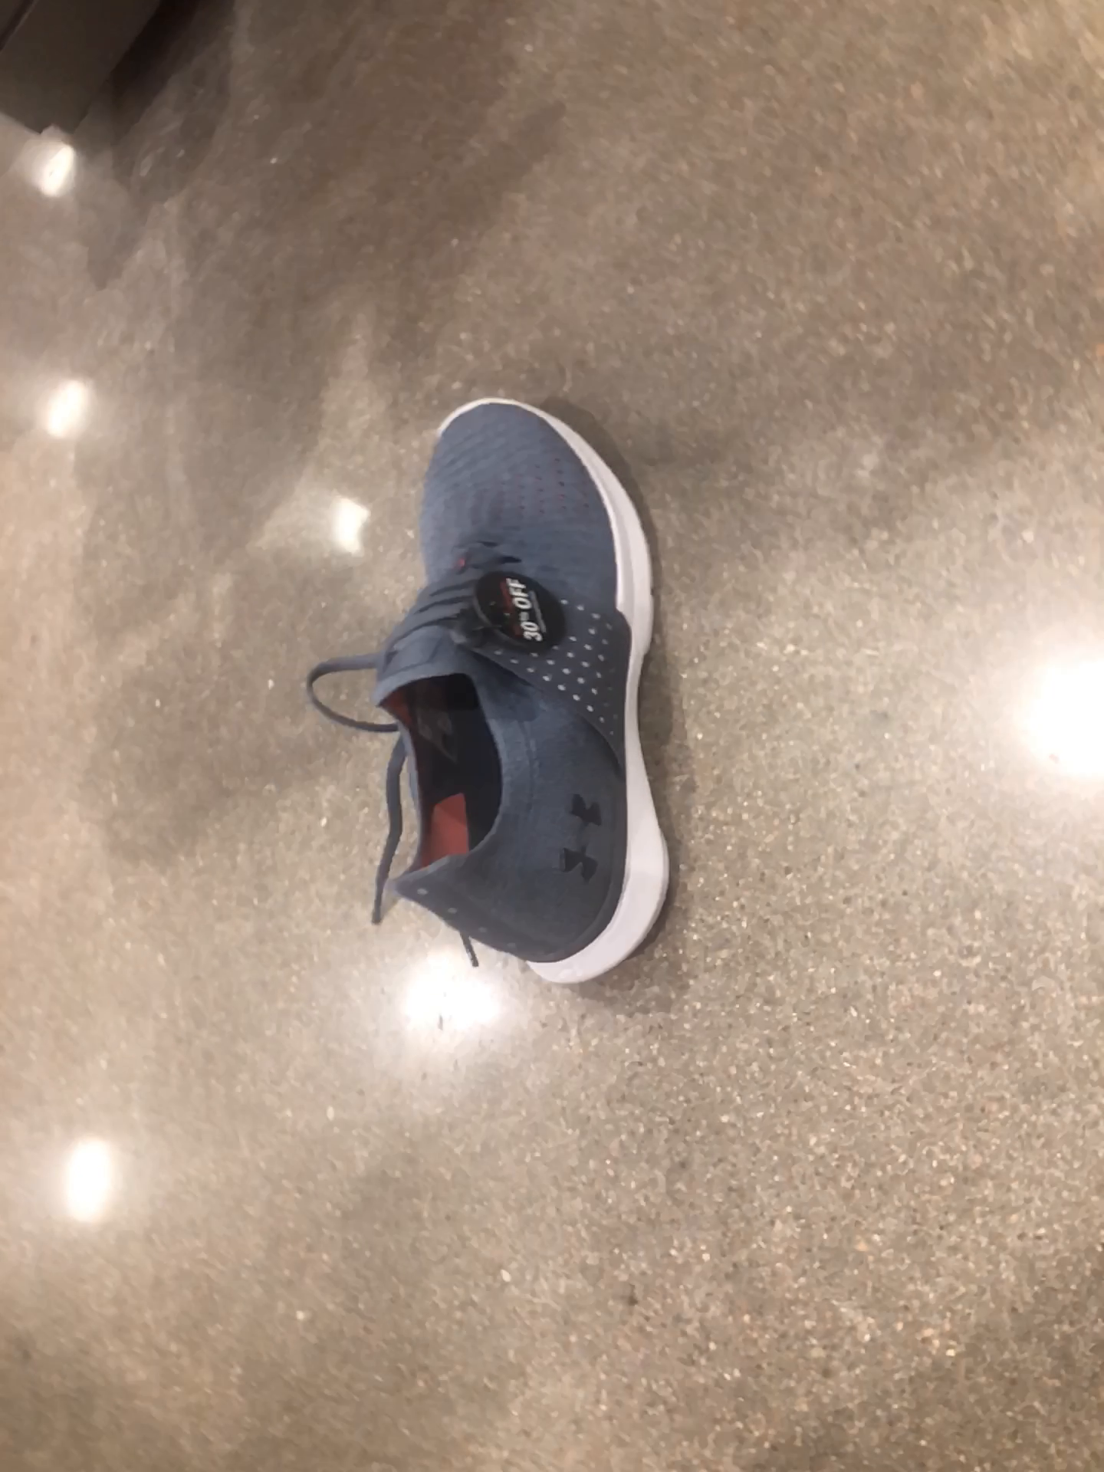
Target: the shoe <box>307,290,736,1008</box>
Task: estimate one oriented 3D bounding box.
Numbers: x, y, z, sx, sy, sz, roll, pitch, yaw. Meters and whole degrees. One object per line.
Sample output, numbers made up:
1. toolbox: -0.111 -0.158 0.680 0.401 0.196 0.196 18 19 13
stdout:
1. shoe: -0.019 -0.030 0.492 0.101 0.109 0.250 -24 61 35
